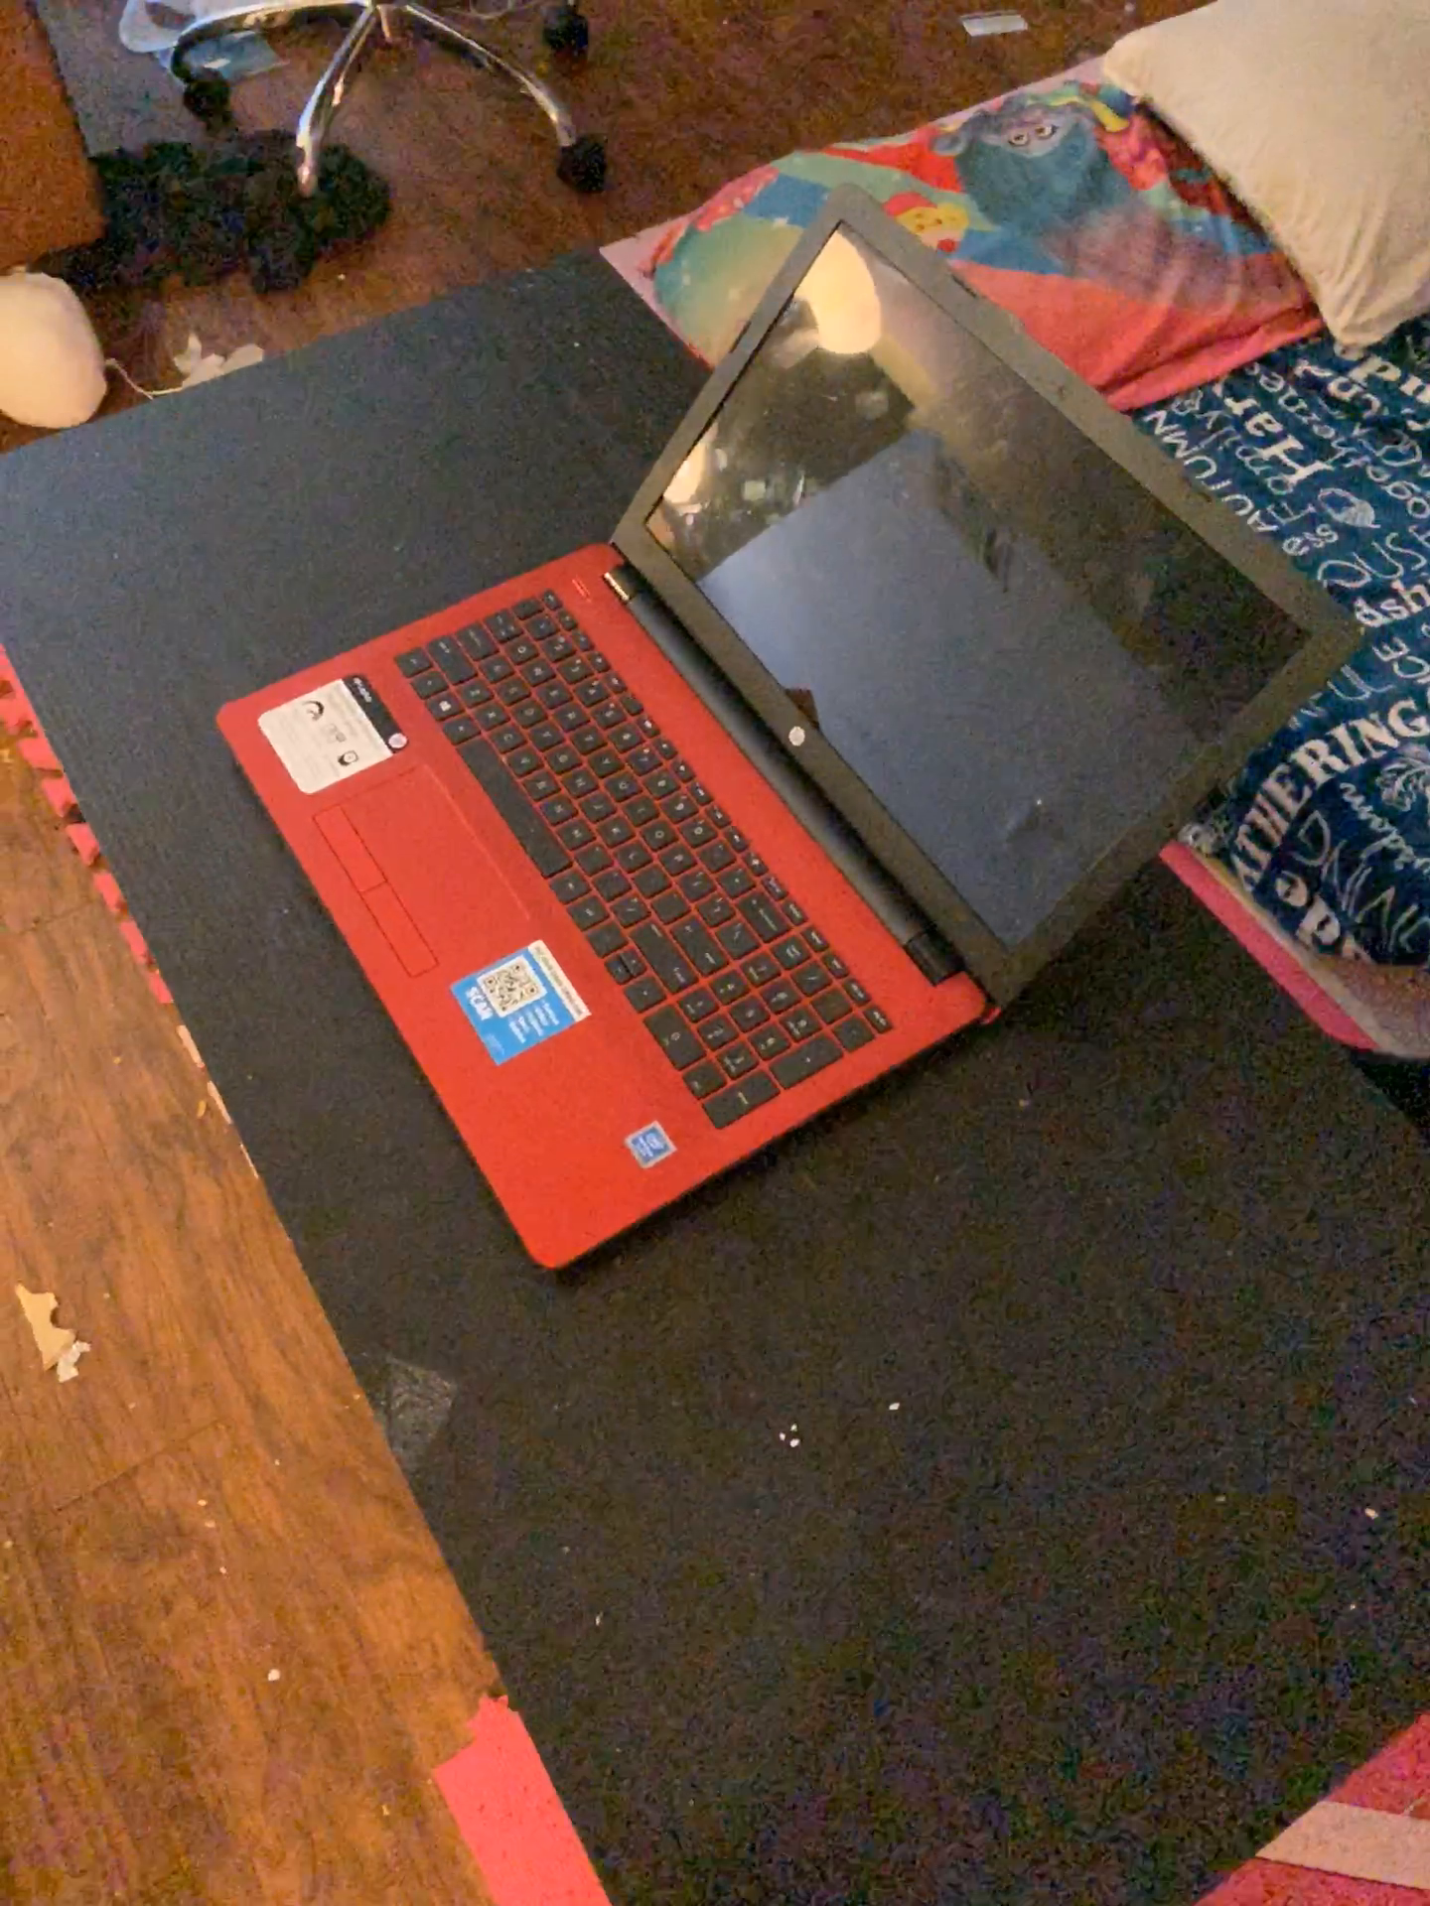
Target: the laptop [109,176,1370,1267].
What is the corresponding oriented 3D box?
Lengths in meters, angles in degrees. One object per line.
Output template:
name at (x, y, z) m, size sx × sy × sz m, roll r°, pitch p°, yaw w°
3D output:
laptop at (-0.001, -0.136, 0.712) m, size 0.410 × 0.170 × 0.376 m, roll -29°, pitch 63°, yaw -16°
